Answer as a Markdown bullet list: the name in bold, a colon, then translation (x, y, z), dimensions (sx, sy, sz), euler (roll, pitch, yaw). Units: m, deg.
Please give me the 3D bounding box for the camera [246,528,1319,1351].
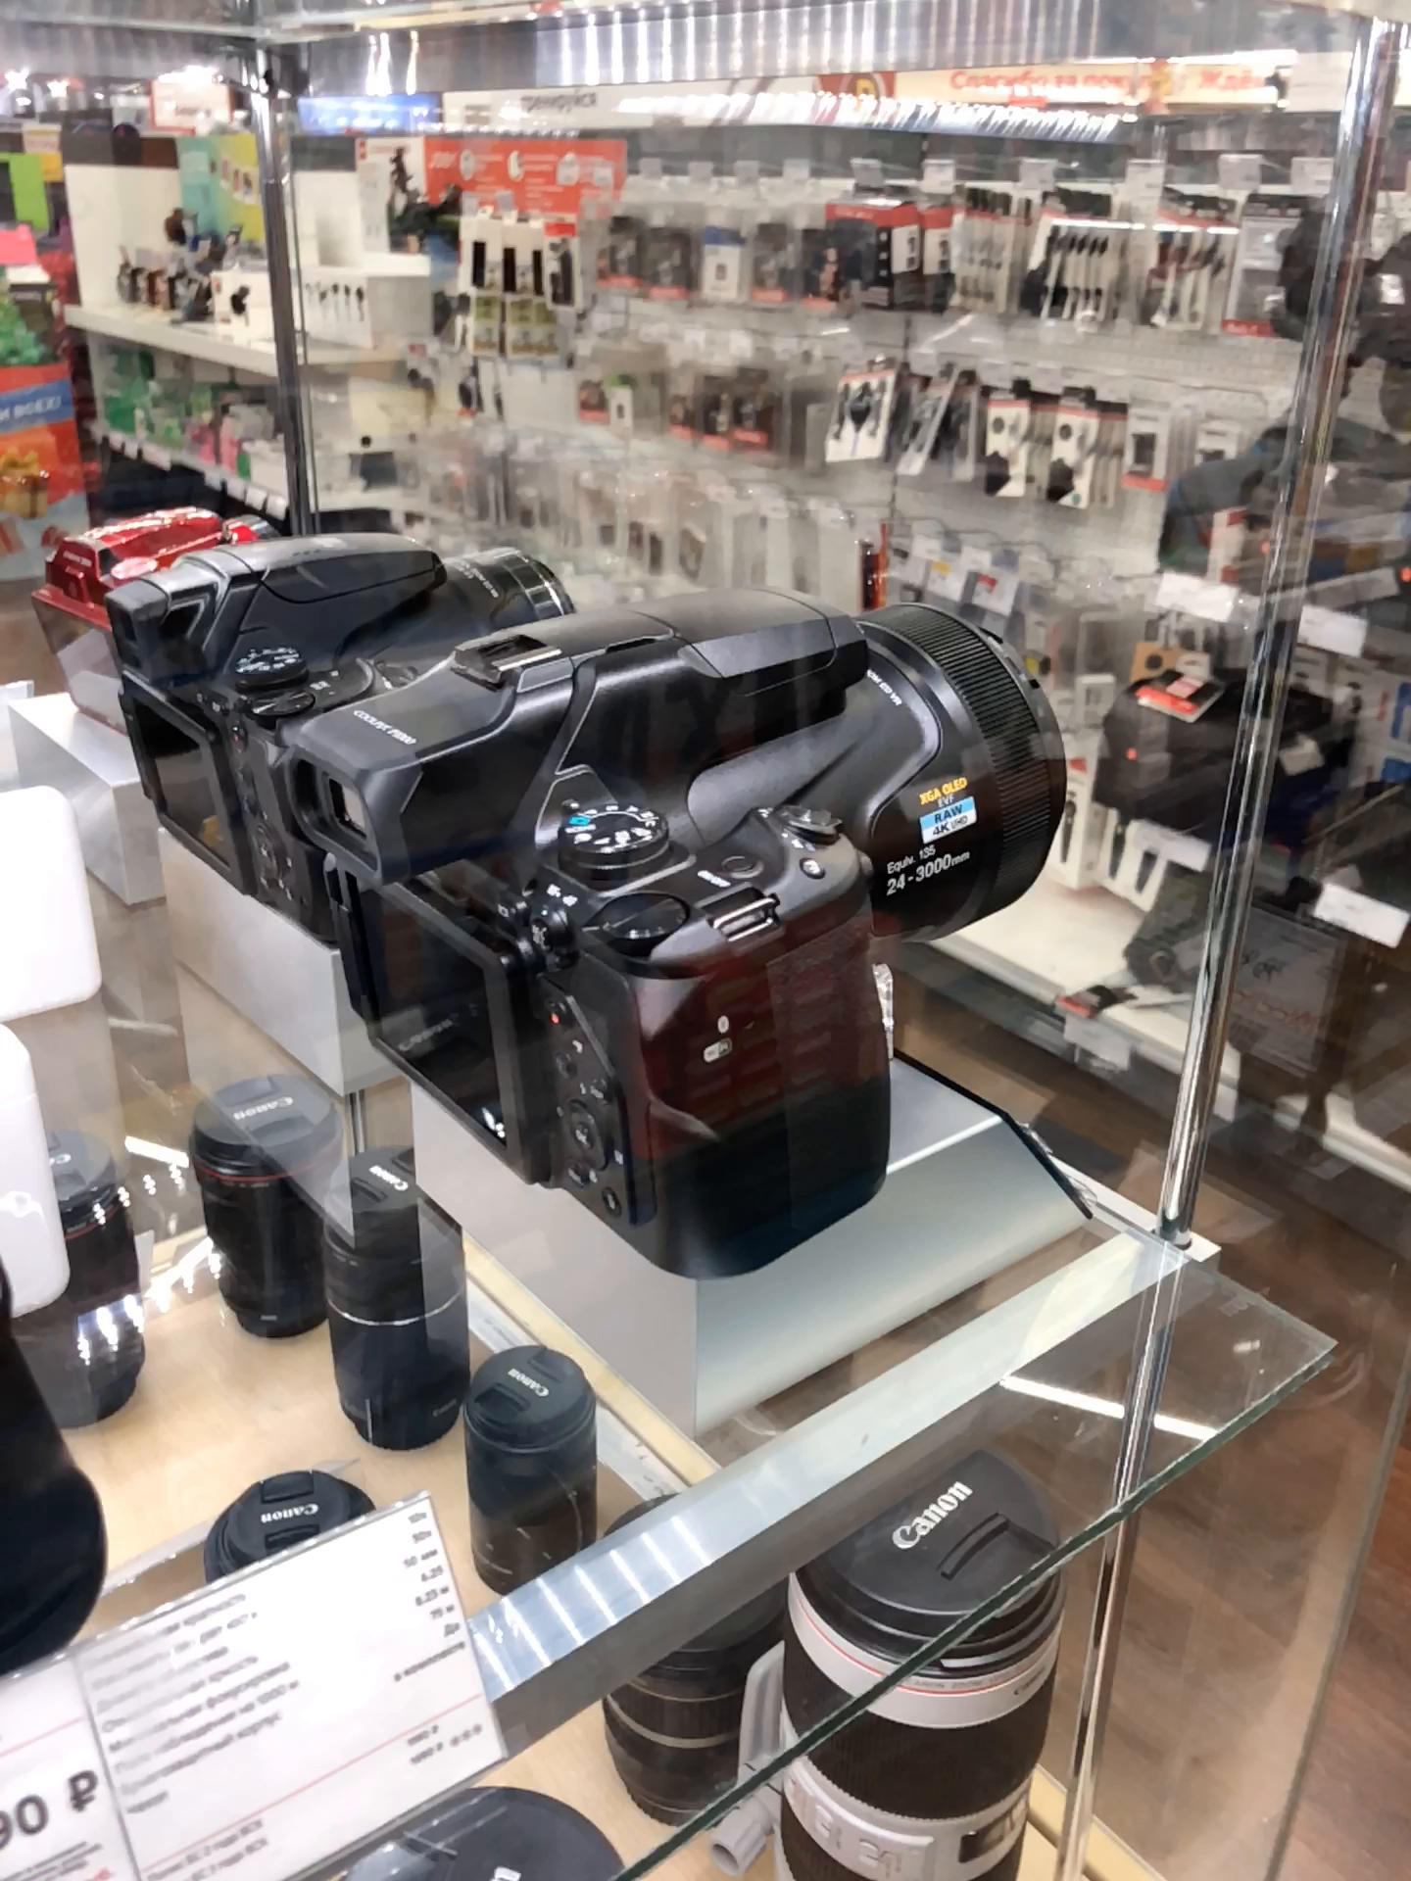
- **camera**: translation (0.017, -0.024, 0.395), dimensions (0.201, 0.113, 0.160), euler (-18, 31, -35)
